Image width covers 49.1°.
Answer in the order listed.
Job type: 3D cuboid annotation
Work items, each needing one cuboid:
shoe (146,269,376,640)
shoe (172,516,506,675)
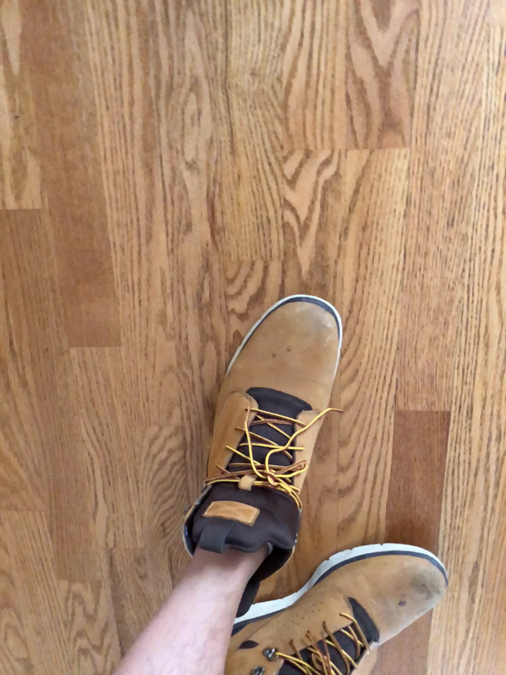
[{"bbox_3d":[0.005,0.105,0.565,0.130,0.140,0.320,15,100,1],"label":"shoe"},{"bbox_3d":[0.093,0.344,0.599,0.300,0.170,0.130,-29,101,25],"label":"shoe"}]
